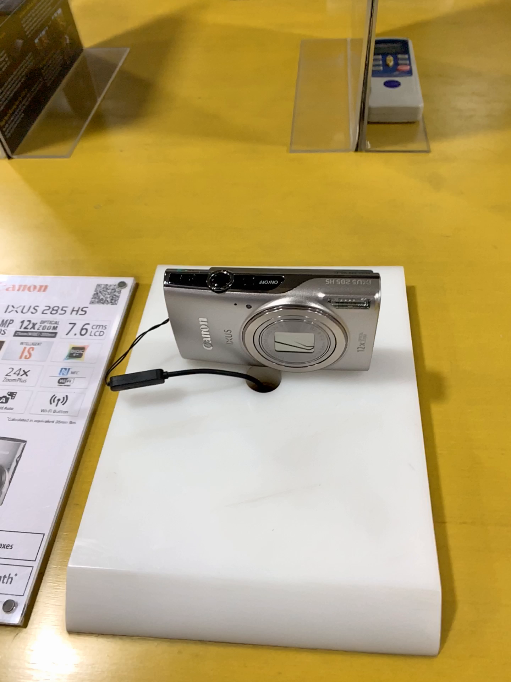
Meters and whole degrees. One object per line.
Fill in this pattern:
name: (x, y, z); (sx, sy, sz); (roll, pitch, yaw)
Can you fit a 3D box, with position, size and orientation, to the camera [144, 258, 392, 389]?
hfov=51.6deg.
camera: (0.007, -0.008, 0.240); (0.100, 0.050, 0.030); (3, 52, 8)
